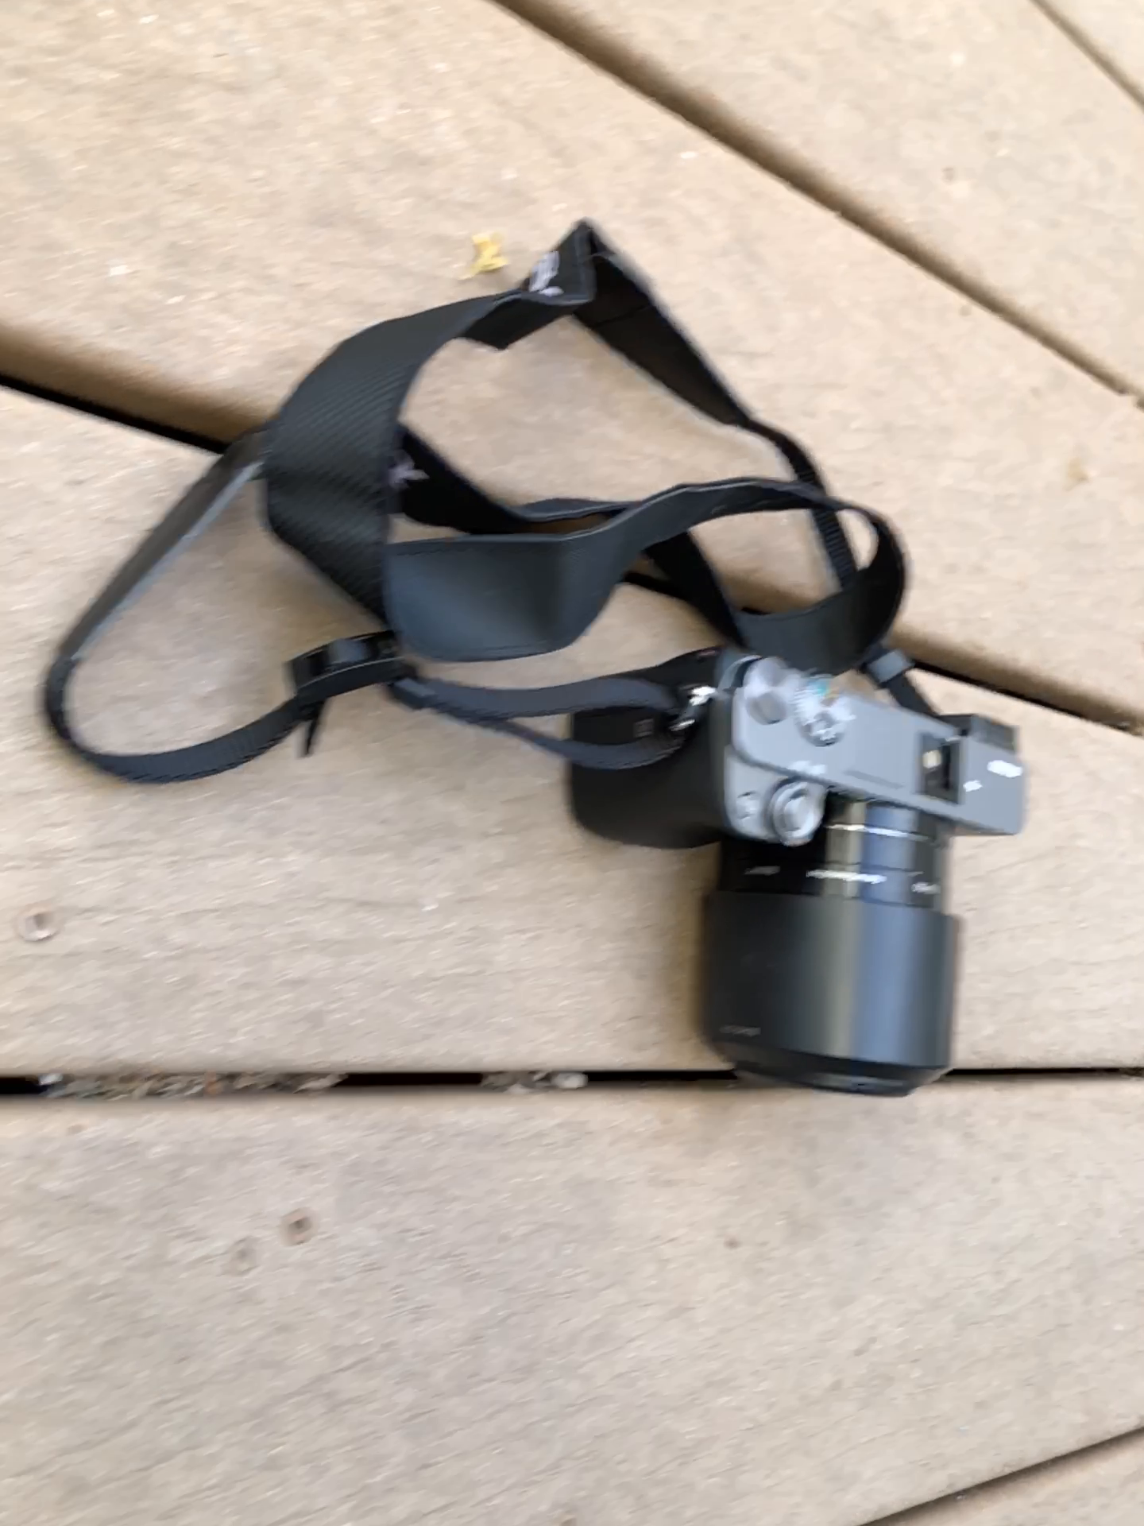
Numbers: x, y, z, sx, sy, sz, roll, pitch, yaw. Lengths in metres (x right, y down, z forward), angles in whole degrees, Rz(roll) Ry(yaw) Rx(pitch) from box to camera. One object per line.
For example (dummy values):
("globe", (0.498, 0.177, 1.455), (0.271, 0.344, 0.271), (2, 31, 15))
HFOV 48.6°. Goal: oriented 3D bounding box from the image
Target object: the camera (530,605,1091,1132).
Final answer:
("camera", (0.068, 0.034, 0.334), (0.131, 0.070, 0.110), (14, 77, -37))
